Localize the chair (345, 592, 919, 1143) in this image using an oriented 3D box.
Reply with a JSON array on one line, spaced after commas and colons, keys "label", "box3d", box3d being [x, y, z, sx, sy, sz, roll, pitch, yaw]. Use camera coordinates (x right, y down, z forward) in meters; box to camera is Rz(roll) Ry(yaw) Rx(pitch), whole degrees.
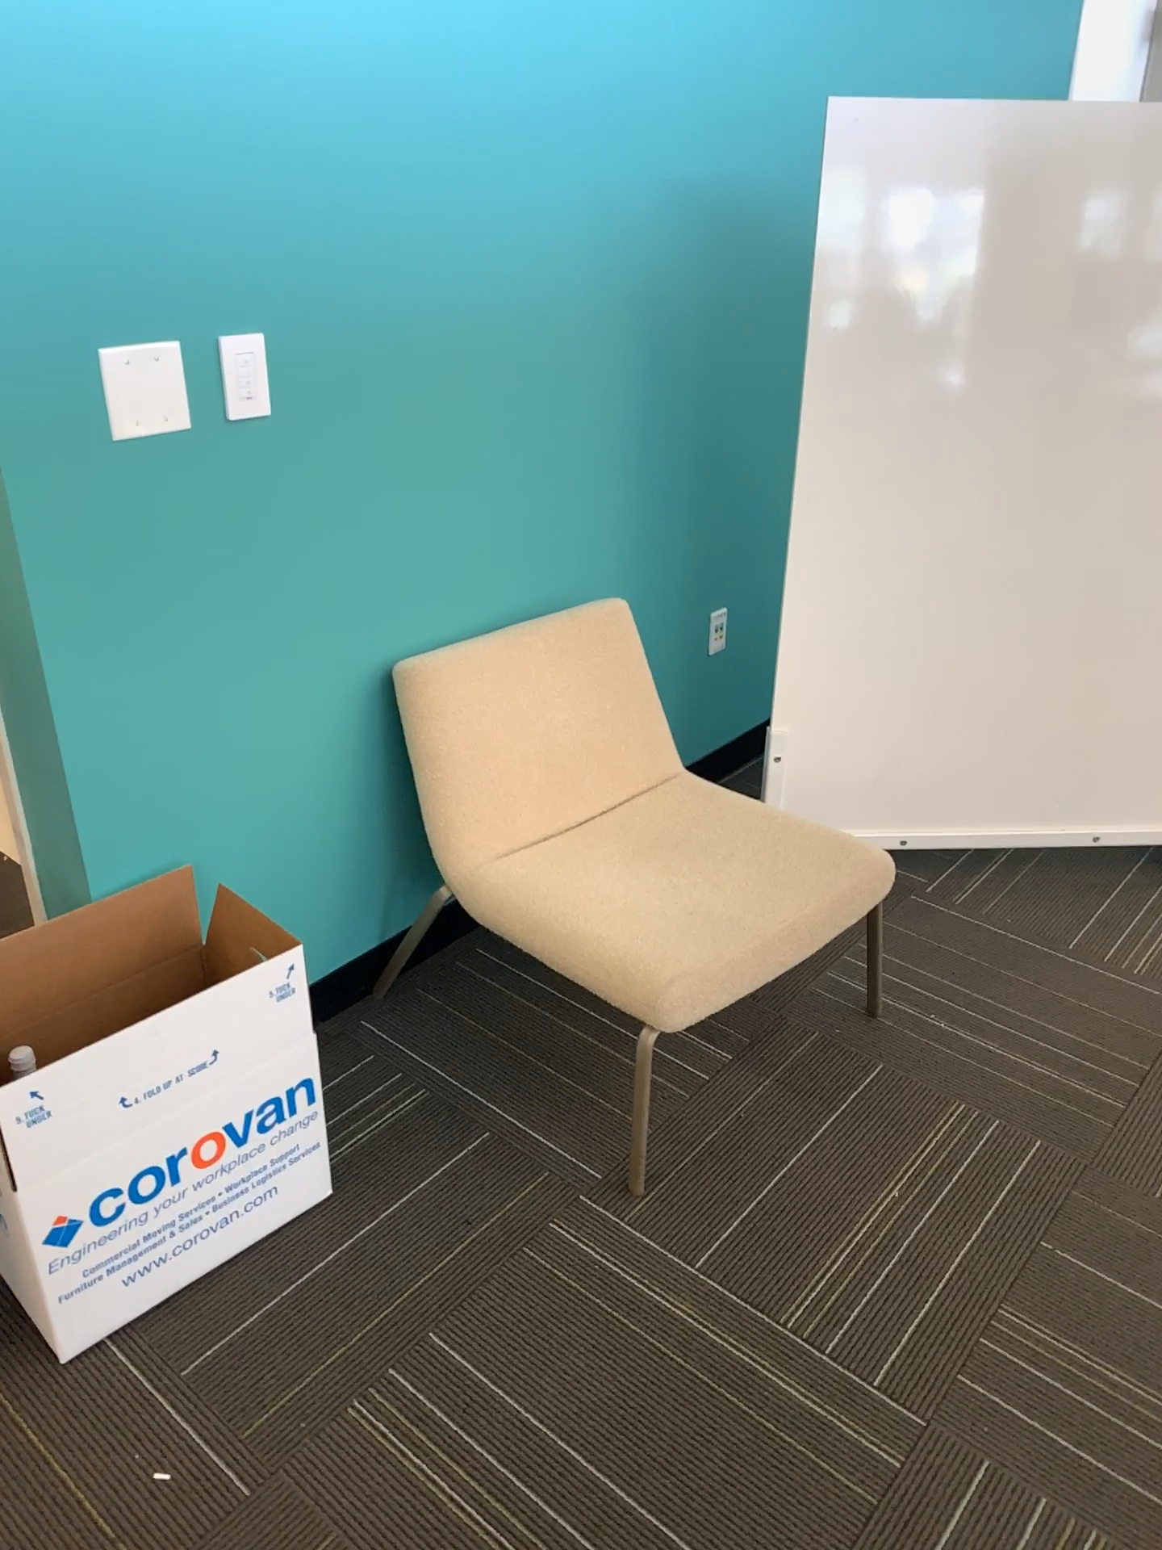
[{"label": "chair", "box3d": [0.080, 0.095, 2.149, 0.661, 0.567, 0.733, -24, 35, -39]}]
